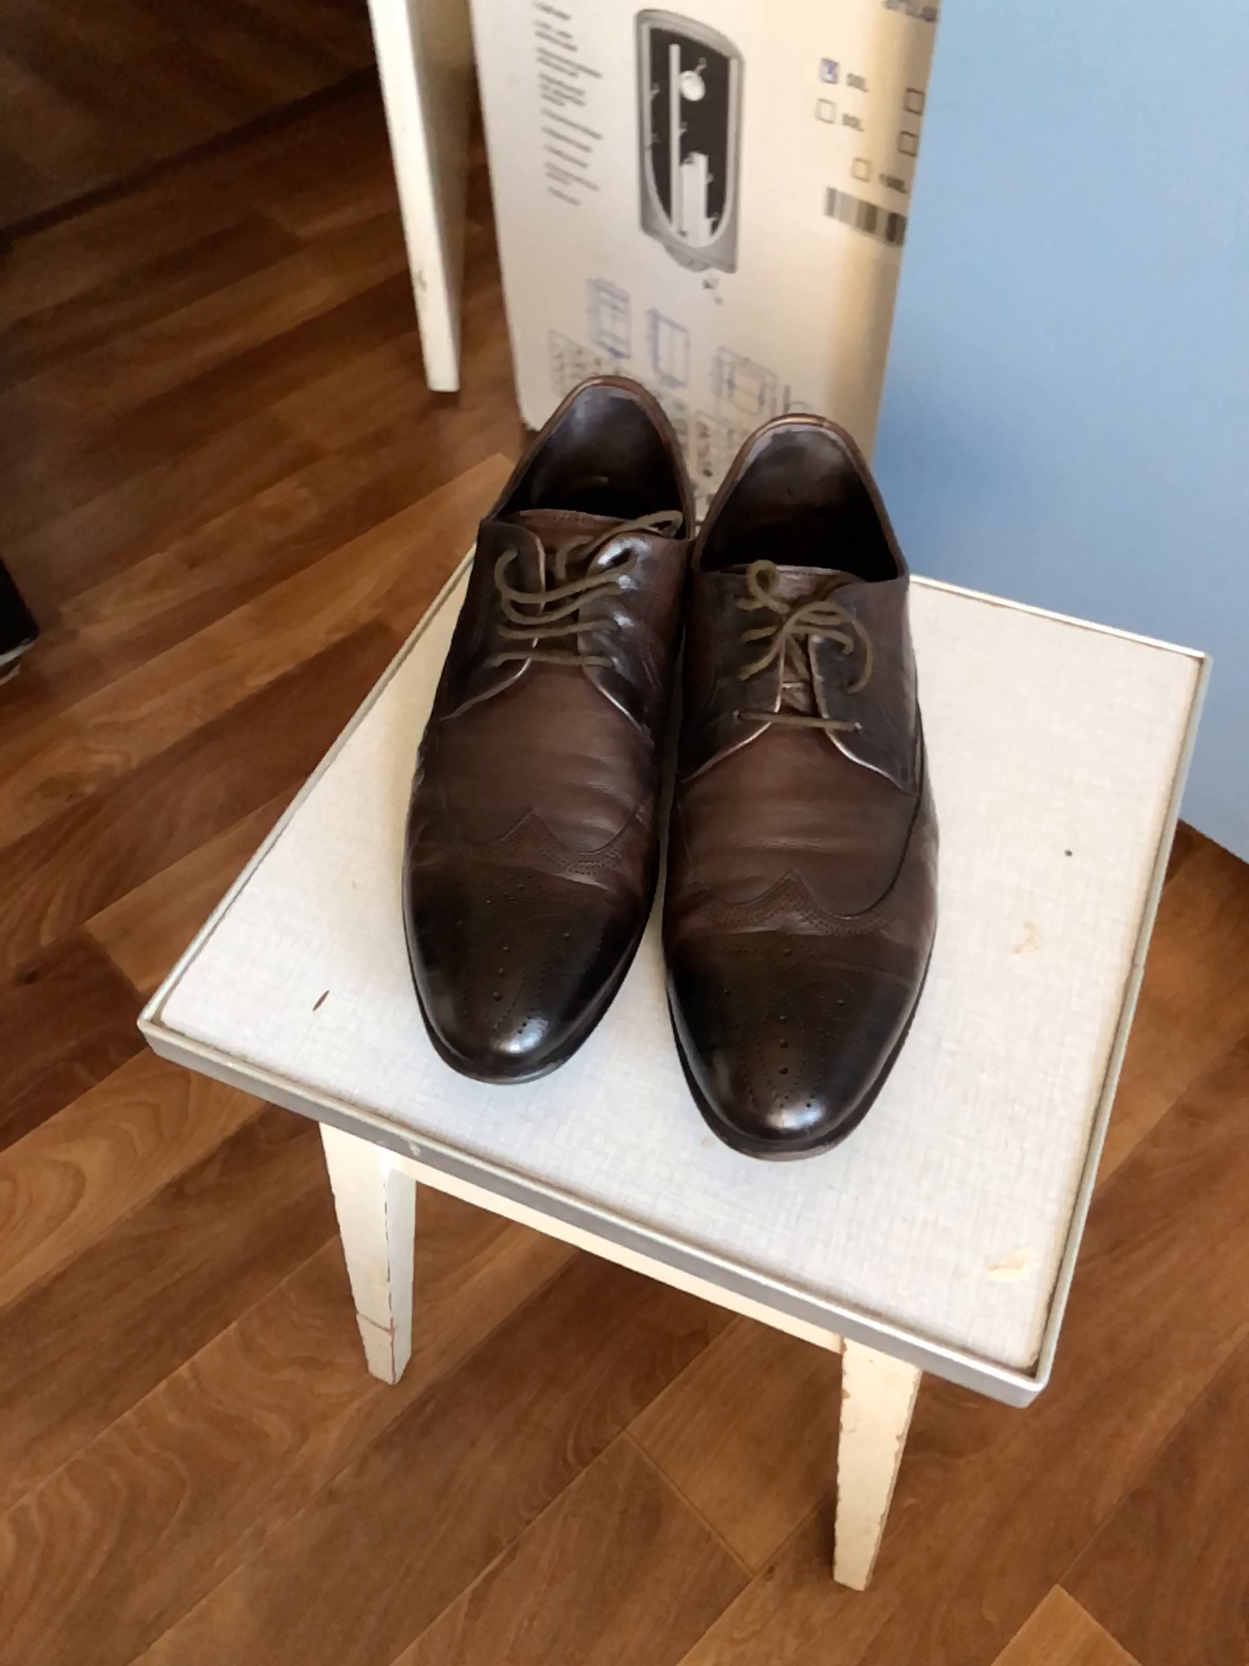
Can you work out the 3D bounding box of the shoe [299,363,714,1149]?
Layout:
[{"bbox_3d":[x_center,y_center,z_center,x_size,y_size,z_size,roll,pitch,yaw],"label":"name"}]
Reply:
[{"bbox_3d":[-0.027,-0.043,0.515,0.100,0.099,0.292,4,54,4],"label":"shoe"}]

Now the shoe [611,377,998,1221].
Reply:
[{"bbox_3d":[0.062,-0.027,0.484,0.100,0.099,0.292,4,54,4],"label":"shoe"}]
